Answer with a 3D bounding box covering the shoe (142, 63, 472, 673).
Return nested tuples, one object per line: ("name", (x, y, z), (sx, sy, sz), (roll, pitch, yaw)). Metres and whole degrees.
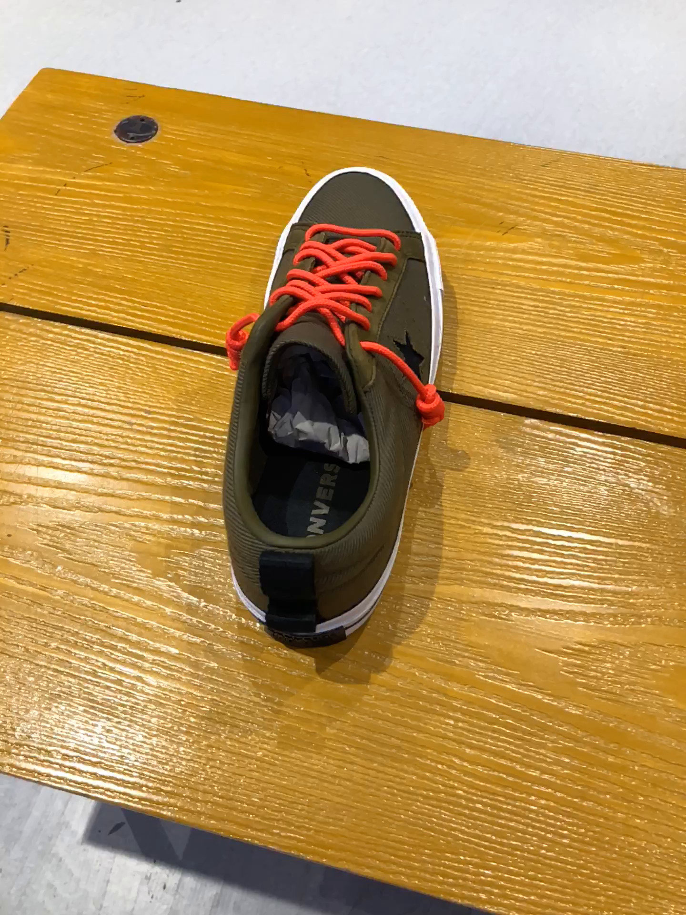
("shoe", (0.000, -0.059, 0.375), (0.105, 0.097, 0.294), (6, 59, 4))
